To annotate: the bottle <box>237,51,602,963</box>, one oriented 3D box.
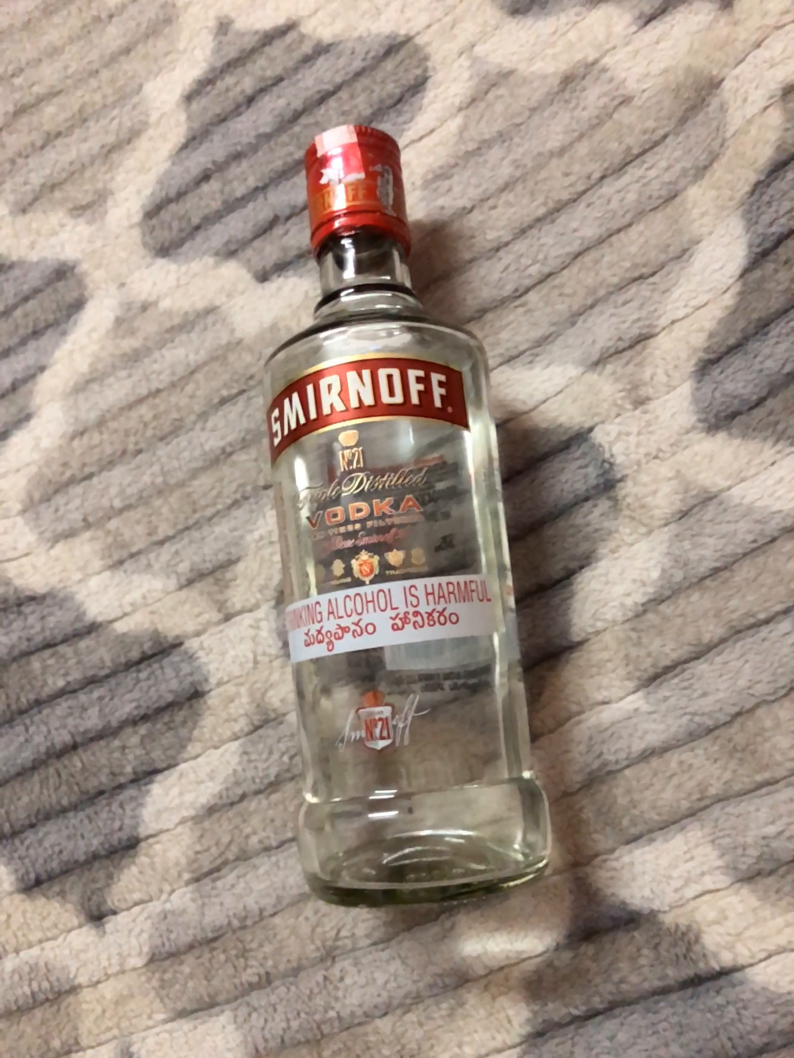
[{"bbox_3d":[0.005,-0.009,0.255,0.070,0.060,0.230,-9,76,12],"label":"bottle"}]
